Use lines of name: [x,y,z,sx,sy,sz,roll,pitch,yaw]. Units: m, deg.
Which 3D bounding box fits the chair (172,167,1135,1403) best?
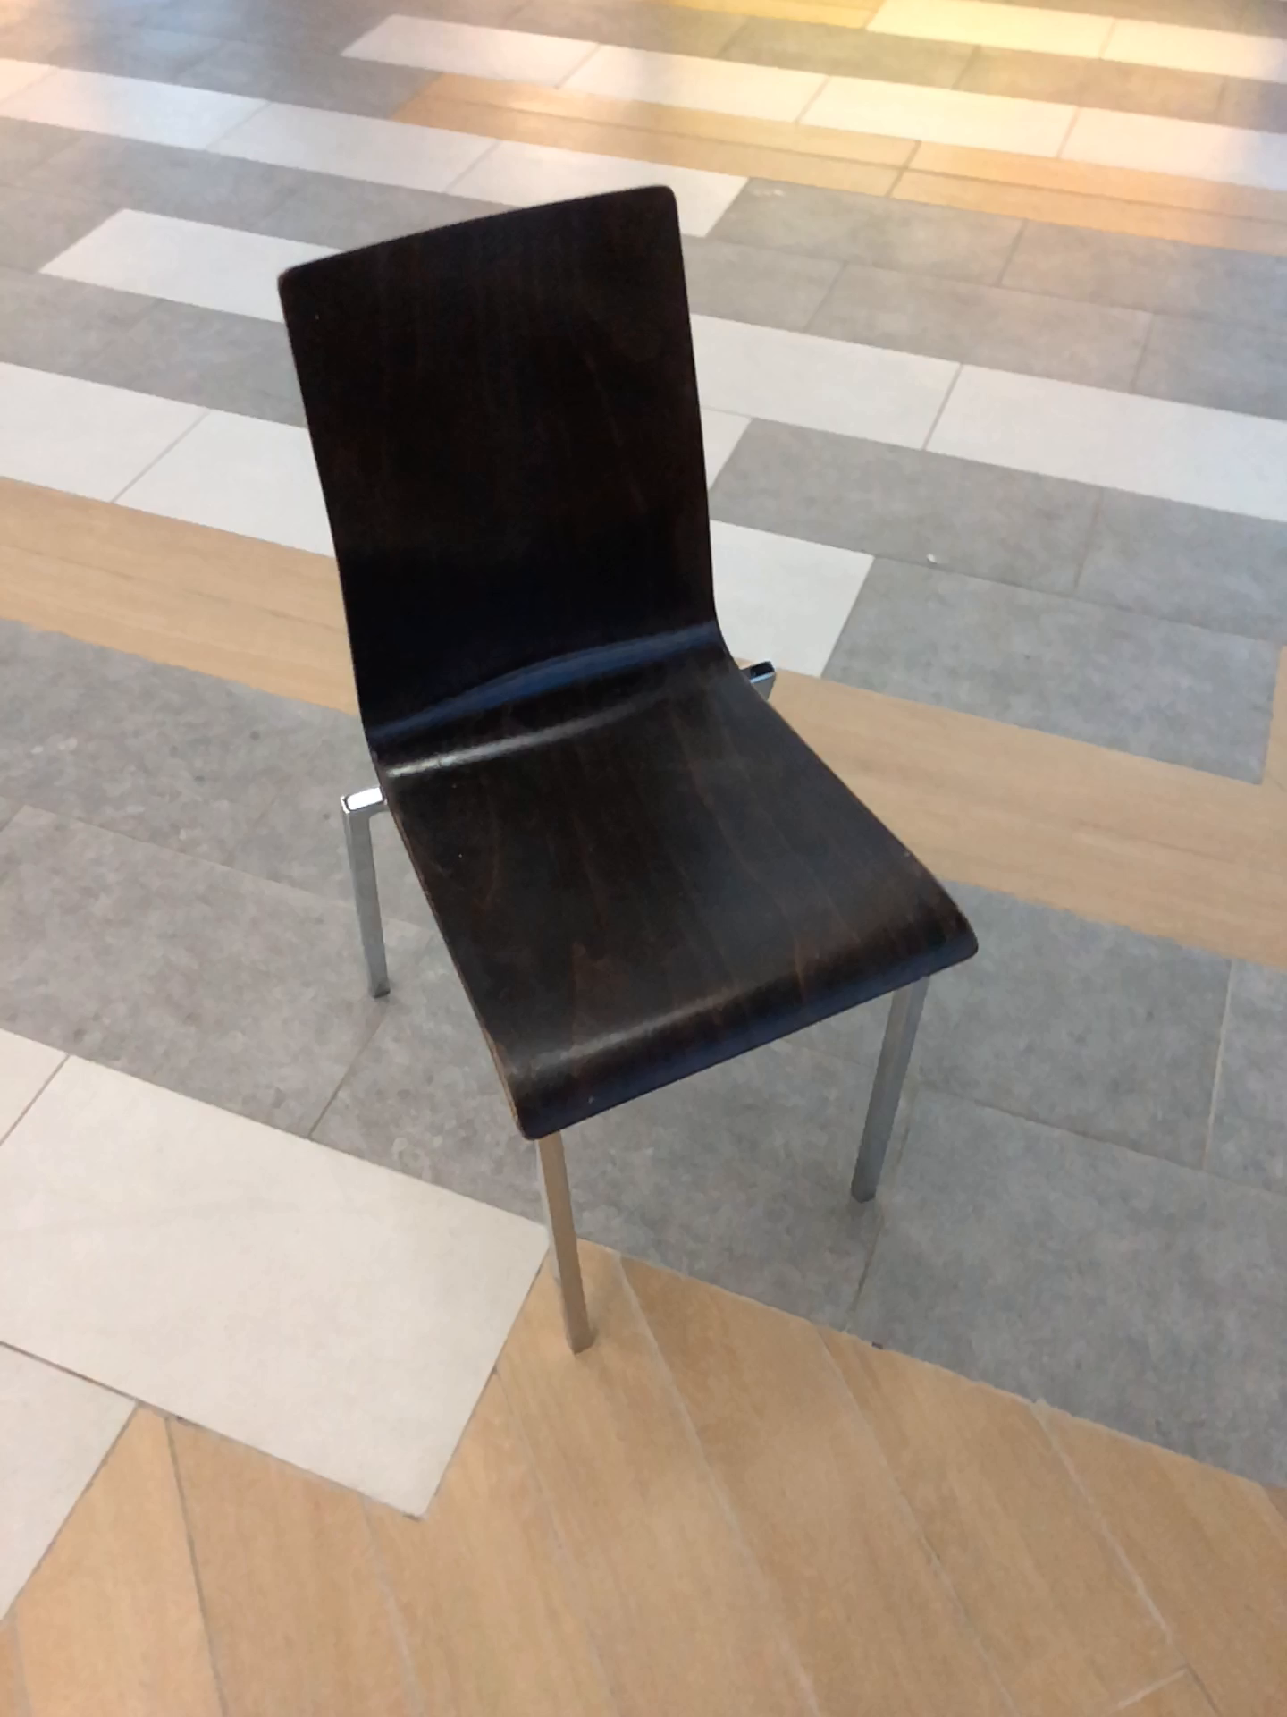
chair: [-0.024,-0.024,1.231,0.434,0.847,0.544,-20,51,-16]
